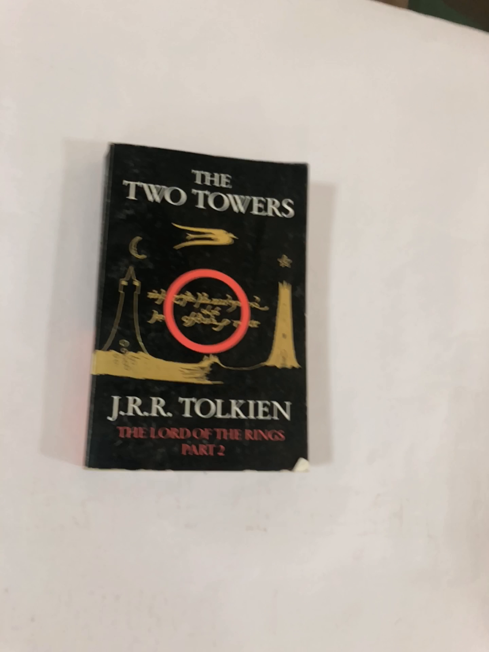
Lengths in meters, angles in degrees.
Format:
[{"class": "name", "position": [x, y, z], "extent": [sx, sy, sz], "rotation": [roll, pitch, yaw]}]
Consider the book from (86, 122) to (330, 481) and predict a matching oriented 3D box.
[{"class": "book", "position": [-0.019, -0.013, 0.325], "extent": [0.130, 0.030, 0.200], "rotation": [4, 76, -15]}]
